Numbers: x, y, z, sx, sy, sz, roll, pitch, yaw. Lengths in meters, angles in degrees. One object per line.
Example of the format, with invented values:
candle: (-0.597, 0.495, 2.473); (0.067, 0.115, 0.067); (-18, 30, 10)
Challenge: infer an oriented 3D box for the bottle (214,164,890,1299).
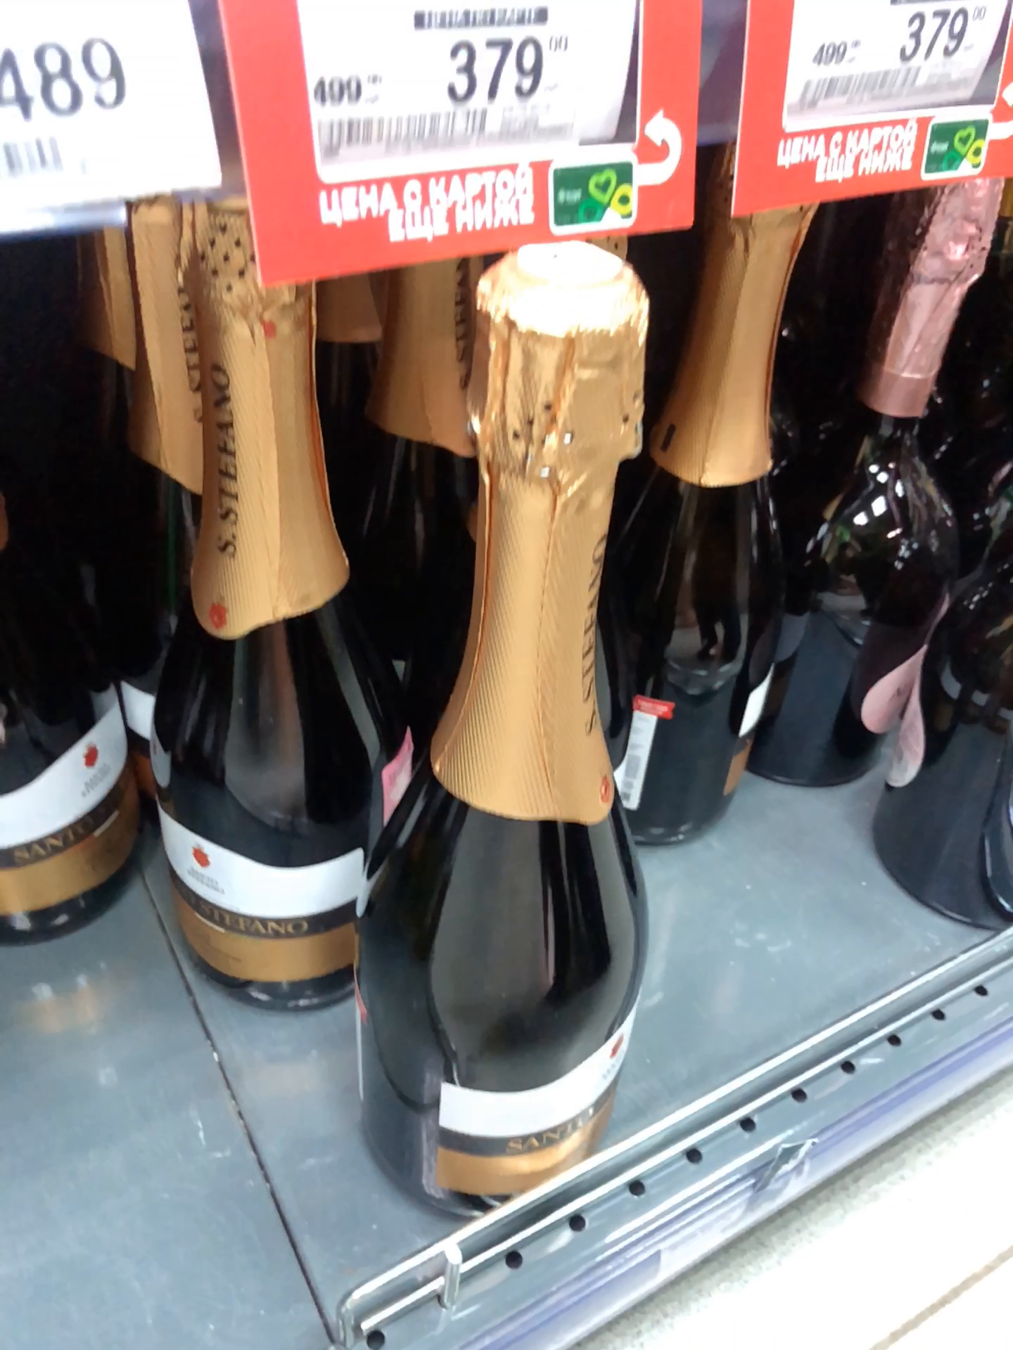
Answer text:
bottle: (0.003, 0.036, 0.310); (0.090, 0.298, 0.100); (27, 44, 25)
